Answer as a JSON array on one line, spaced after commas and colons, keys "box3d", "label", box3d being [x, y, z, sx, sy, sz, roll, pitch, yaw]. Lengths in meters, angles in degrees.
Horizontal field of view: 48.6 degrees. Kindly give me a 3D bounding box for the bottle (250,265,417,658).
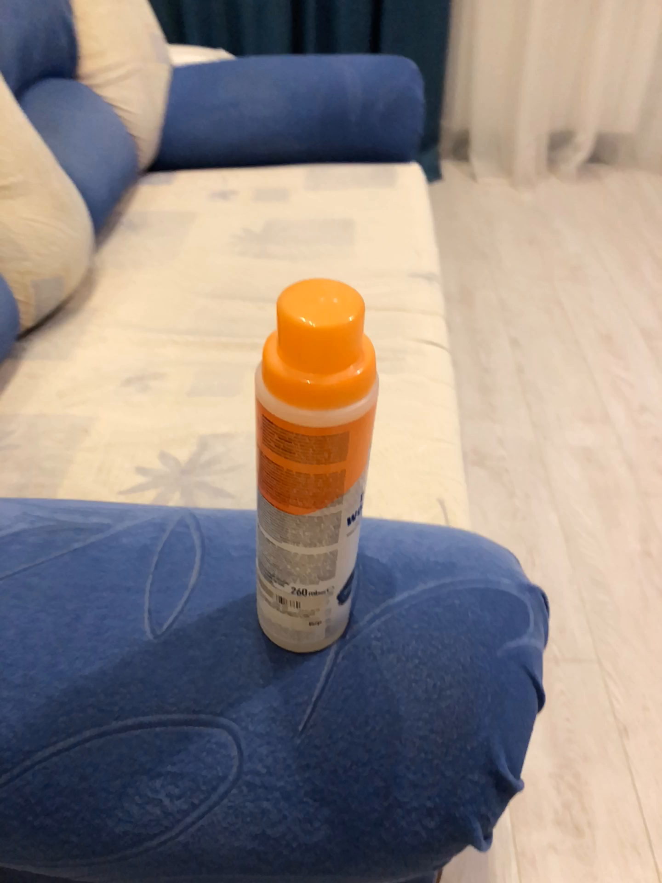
[{"box3d": [-0.008, 0.021, 0.318, 0.052, 0.188, 0.052, 3, 43, -3], "label": "bottle"}]
